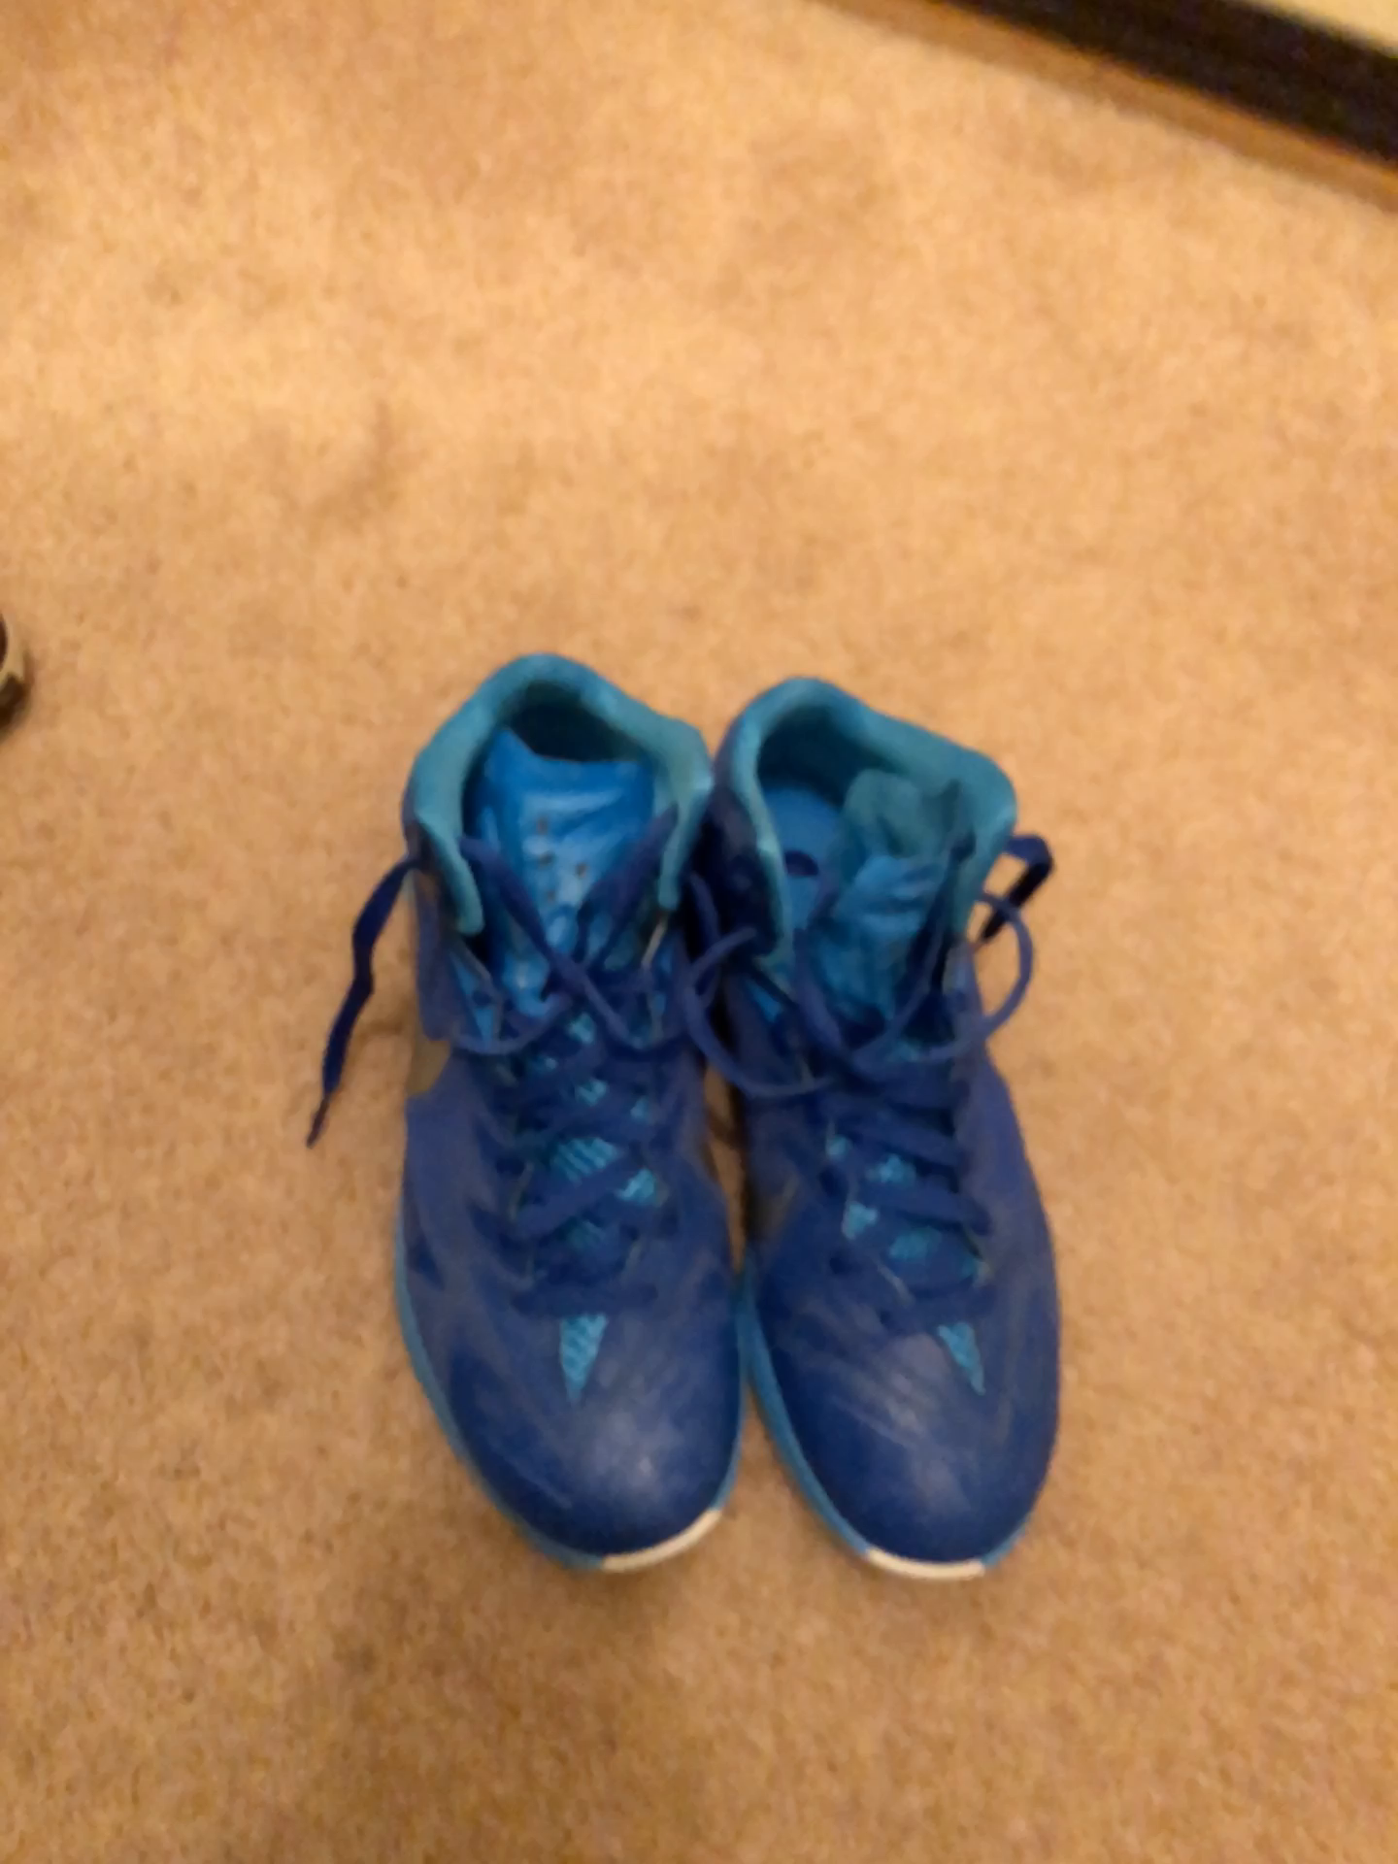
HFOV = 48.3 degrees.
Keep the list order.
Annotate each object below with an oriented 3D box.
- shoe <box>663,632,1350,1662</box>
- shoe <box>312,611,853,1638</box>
[{"bbox_3d":[0.075,0.066,0.496,0.122,0.134,0.280,-7,68,-9],"label":"shoe"},{"bbox_3d":[-0.046,0.059,0.488,0.120,0.134,0.279,-5,68,-8],"label":"shoe"}]
